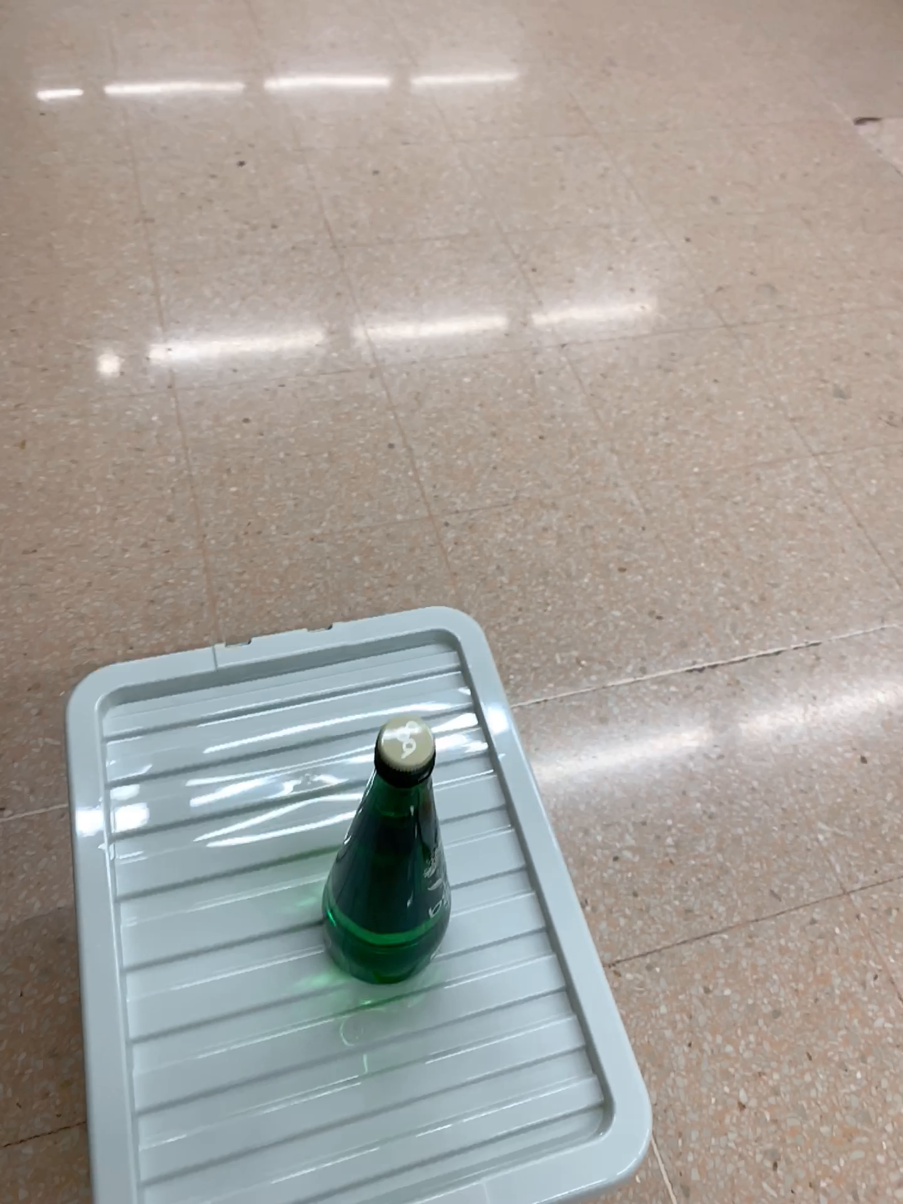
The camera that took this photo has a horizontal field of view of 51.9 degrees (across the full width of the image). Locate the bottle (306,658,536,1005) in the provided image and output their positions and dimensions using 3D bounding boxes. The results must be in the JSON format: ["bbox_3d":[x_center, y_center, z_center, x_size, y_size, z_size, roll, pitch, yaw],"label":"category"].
[{"bbox_3d":[-0.031,0.151,0.542,0.093,0.298,0.085,3,55,-5],"label":"bottle"}]
